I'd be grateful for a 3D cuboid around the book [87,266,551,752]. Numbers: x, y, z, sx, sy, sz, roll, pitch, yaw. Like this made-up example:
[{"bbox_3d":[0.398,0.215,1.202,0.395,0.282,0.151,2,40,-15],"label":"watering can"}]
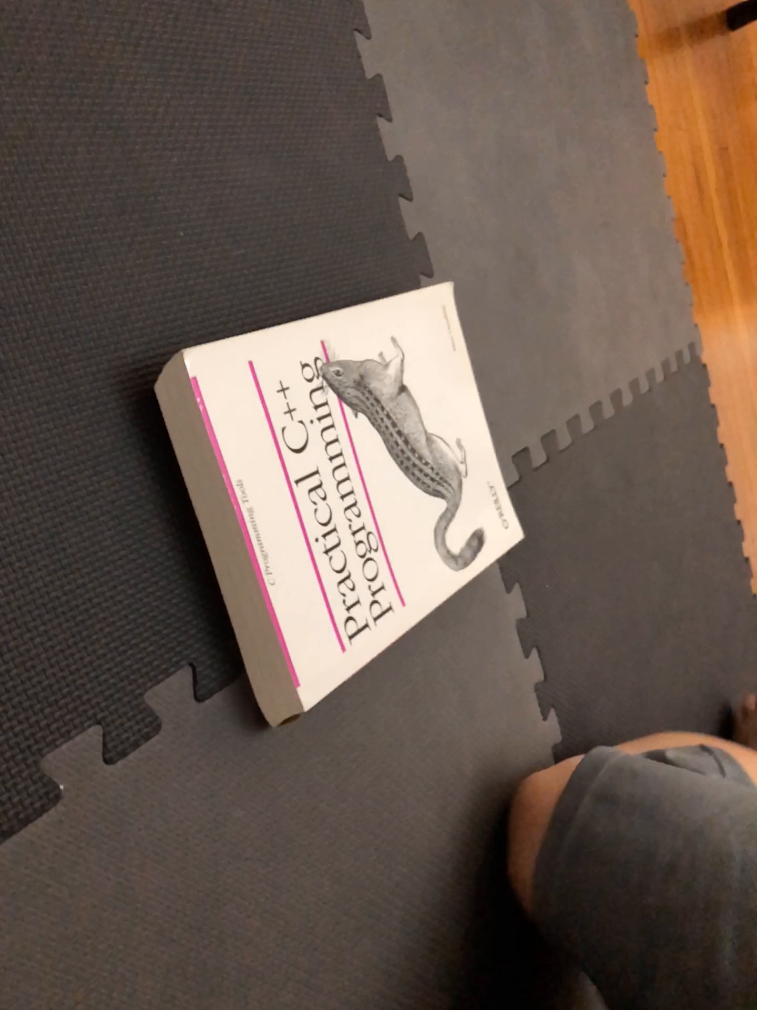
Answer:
[{"bbox_3d":[-0.008,-0.017,0.477,0.251,0.050,0.200,-30,101,-50],"label":"book"}]
